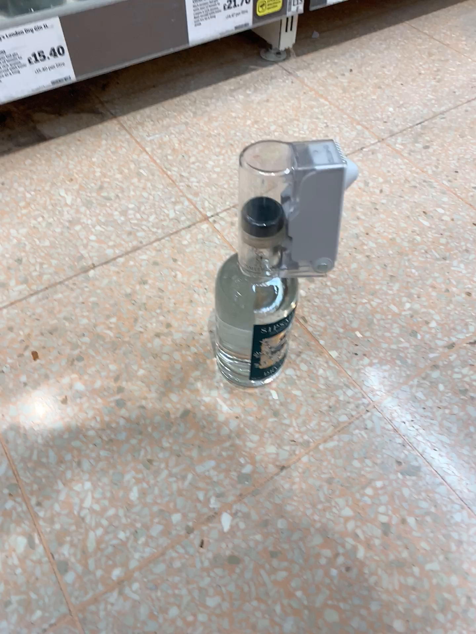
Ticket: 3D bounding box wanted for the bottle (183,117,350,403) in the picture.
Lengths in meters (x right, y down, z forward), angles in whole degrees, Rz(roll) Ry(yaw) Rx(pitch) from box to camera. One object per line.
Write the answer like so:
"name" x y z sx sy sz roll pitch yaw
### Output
"bottle" 0.015 -0.027 0.385 0.075 0.222 0.069 1 54 -1
